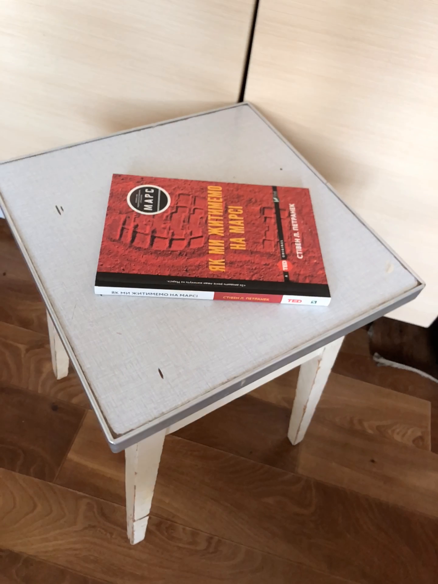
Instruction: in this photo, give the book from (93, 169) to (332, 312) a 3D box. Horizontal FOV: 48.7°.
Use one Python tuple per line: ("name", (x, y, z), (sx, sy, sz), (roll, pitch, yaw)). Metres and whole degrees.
("book", (-0.005, -0.054, 0.472), (0.208, 0.020, 0.151), (3, 54, -6))
